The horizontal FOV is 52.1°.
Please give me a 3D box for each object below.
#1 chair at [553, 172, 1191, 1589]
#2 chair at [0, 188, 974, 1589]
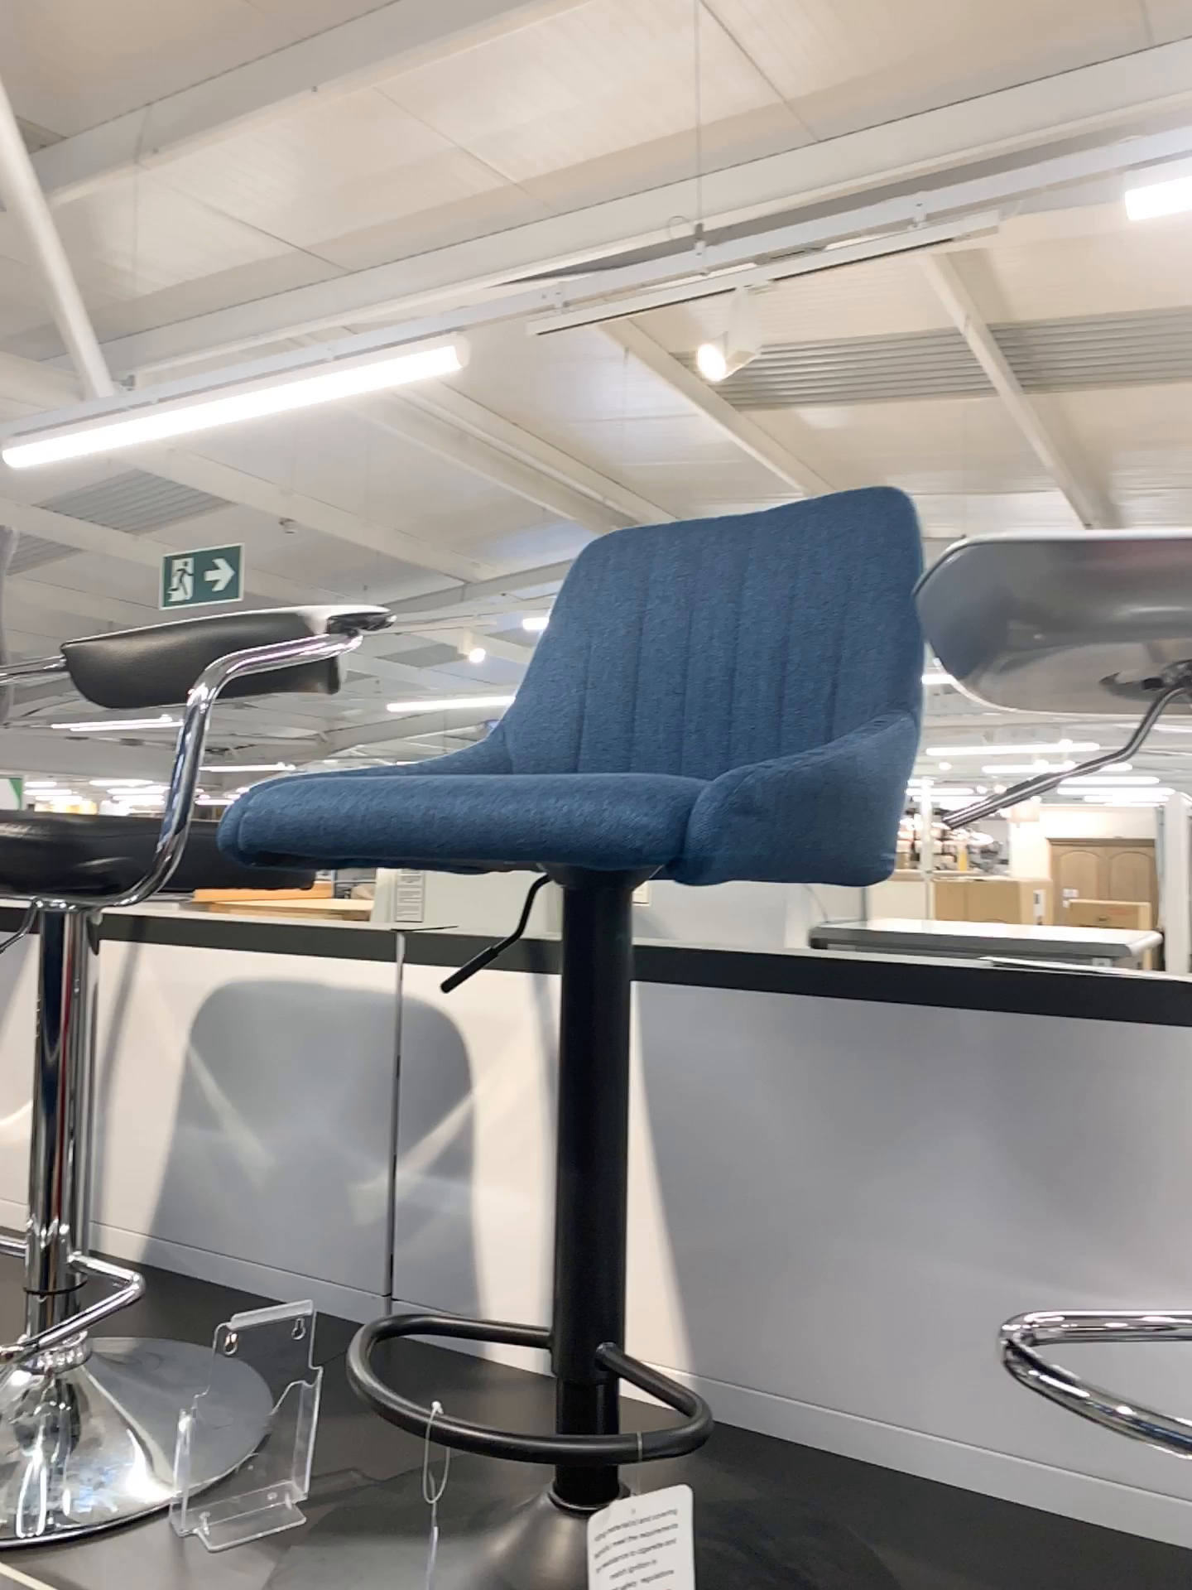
[{"bbox_3d":[0.262,0.174,0.666,0.409,0.763,0.387,-1,-4,30],"label":"chair"},{"bbox_3d":[-0.042,0.143,0.939,0.539,0.873,0.507,-1,-4,30],"label":"chair"}]
